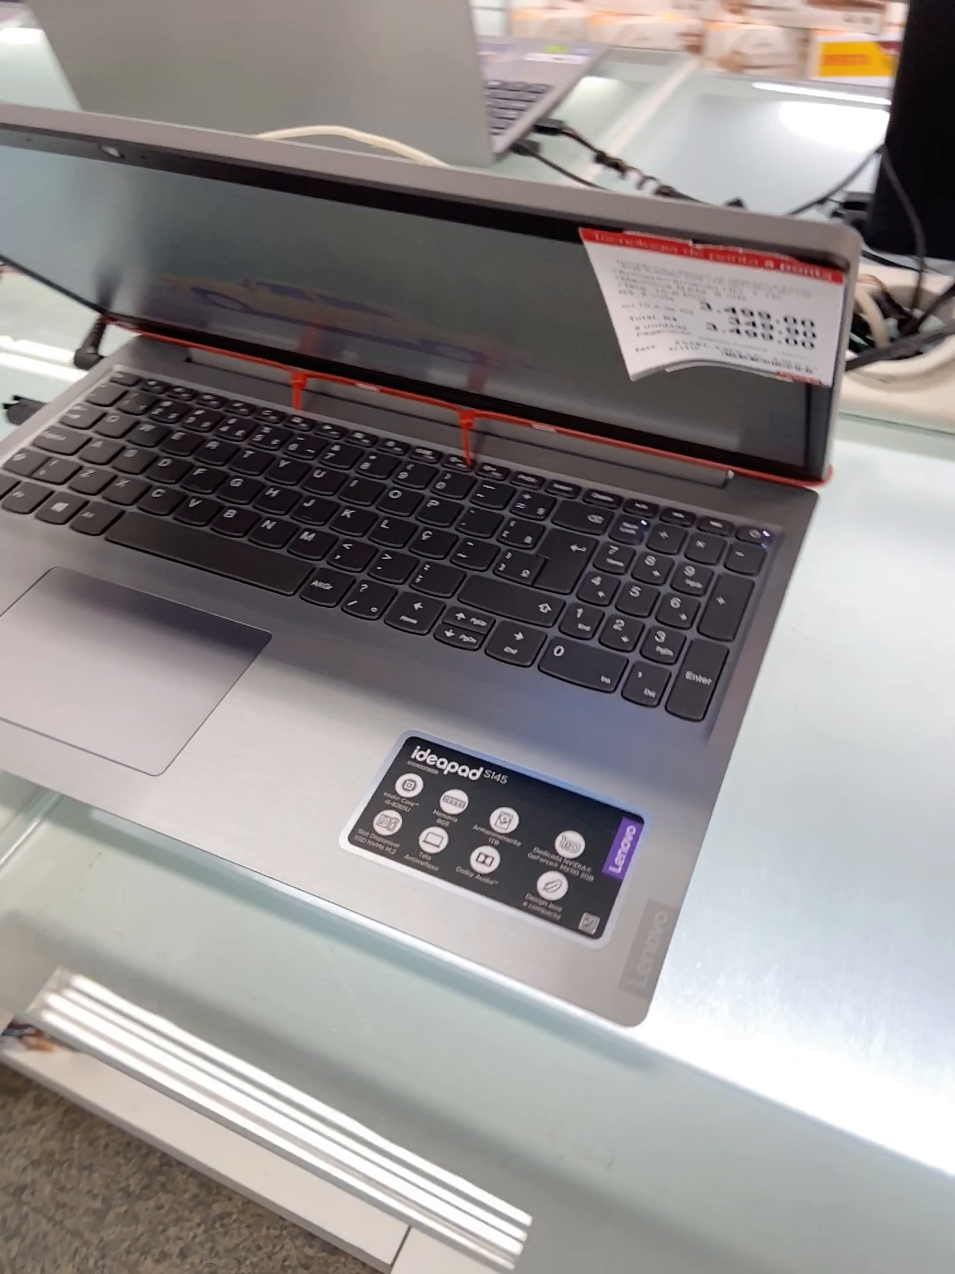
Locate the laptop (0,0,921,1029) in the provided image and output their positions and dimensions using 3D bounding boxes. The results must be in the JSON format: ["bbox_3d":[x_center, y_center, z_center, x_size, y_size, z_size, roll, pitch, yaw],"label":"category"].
[{"bbox_3d":[-0.077,-0.089,0.336,0.360,0.175,0.245,16,50,19],"label":"laptop"}]
